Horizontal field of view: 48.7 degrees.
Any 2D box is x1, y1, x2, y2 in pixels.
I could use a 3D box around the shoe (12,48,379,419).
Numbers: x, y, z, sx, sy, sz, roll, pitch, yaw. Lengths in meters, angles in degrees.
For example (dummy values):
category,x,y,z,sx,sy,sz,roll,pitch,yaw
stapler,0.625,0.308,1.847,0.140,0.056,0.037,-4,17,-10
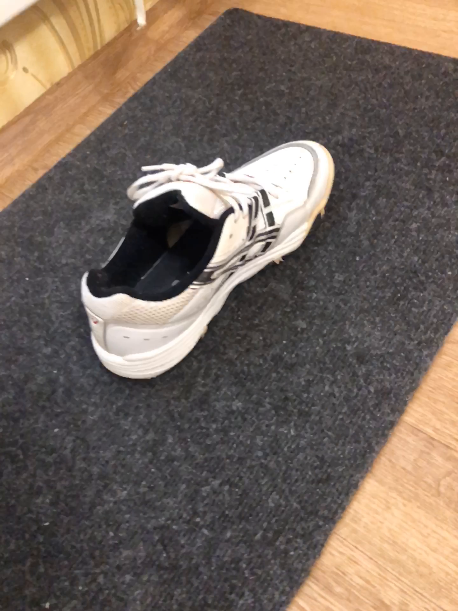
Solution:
category,x,y,z,sx,sy,sz,roll,pitch,yaw
shoe,-0.006,-0.067,0.409,0.100,0.110,0.289,33,68,28
